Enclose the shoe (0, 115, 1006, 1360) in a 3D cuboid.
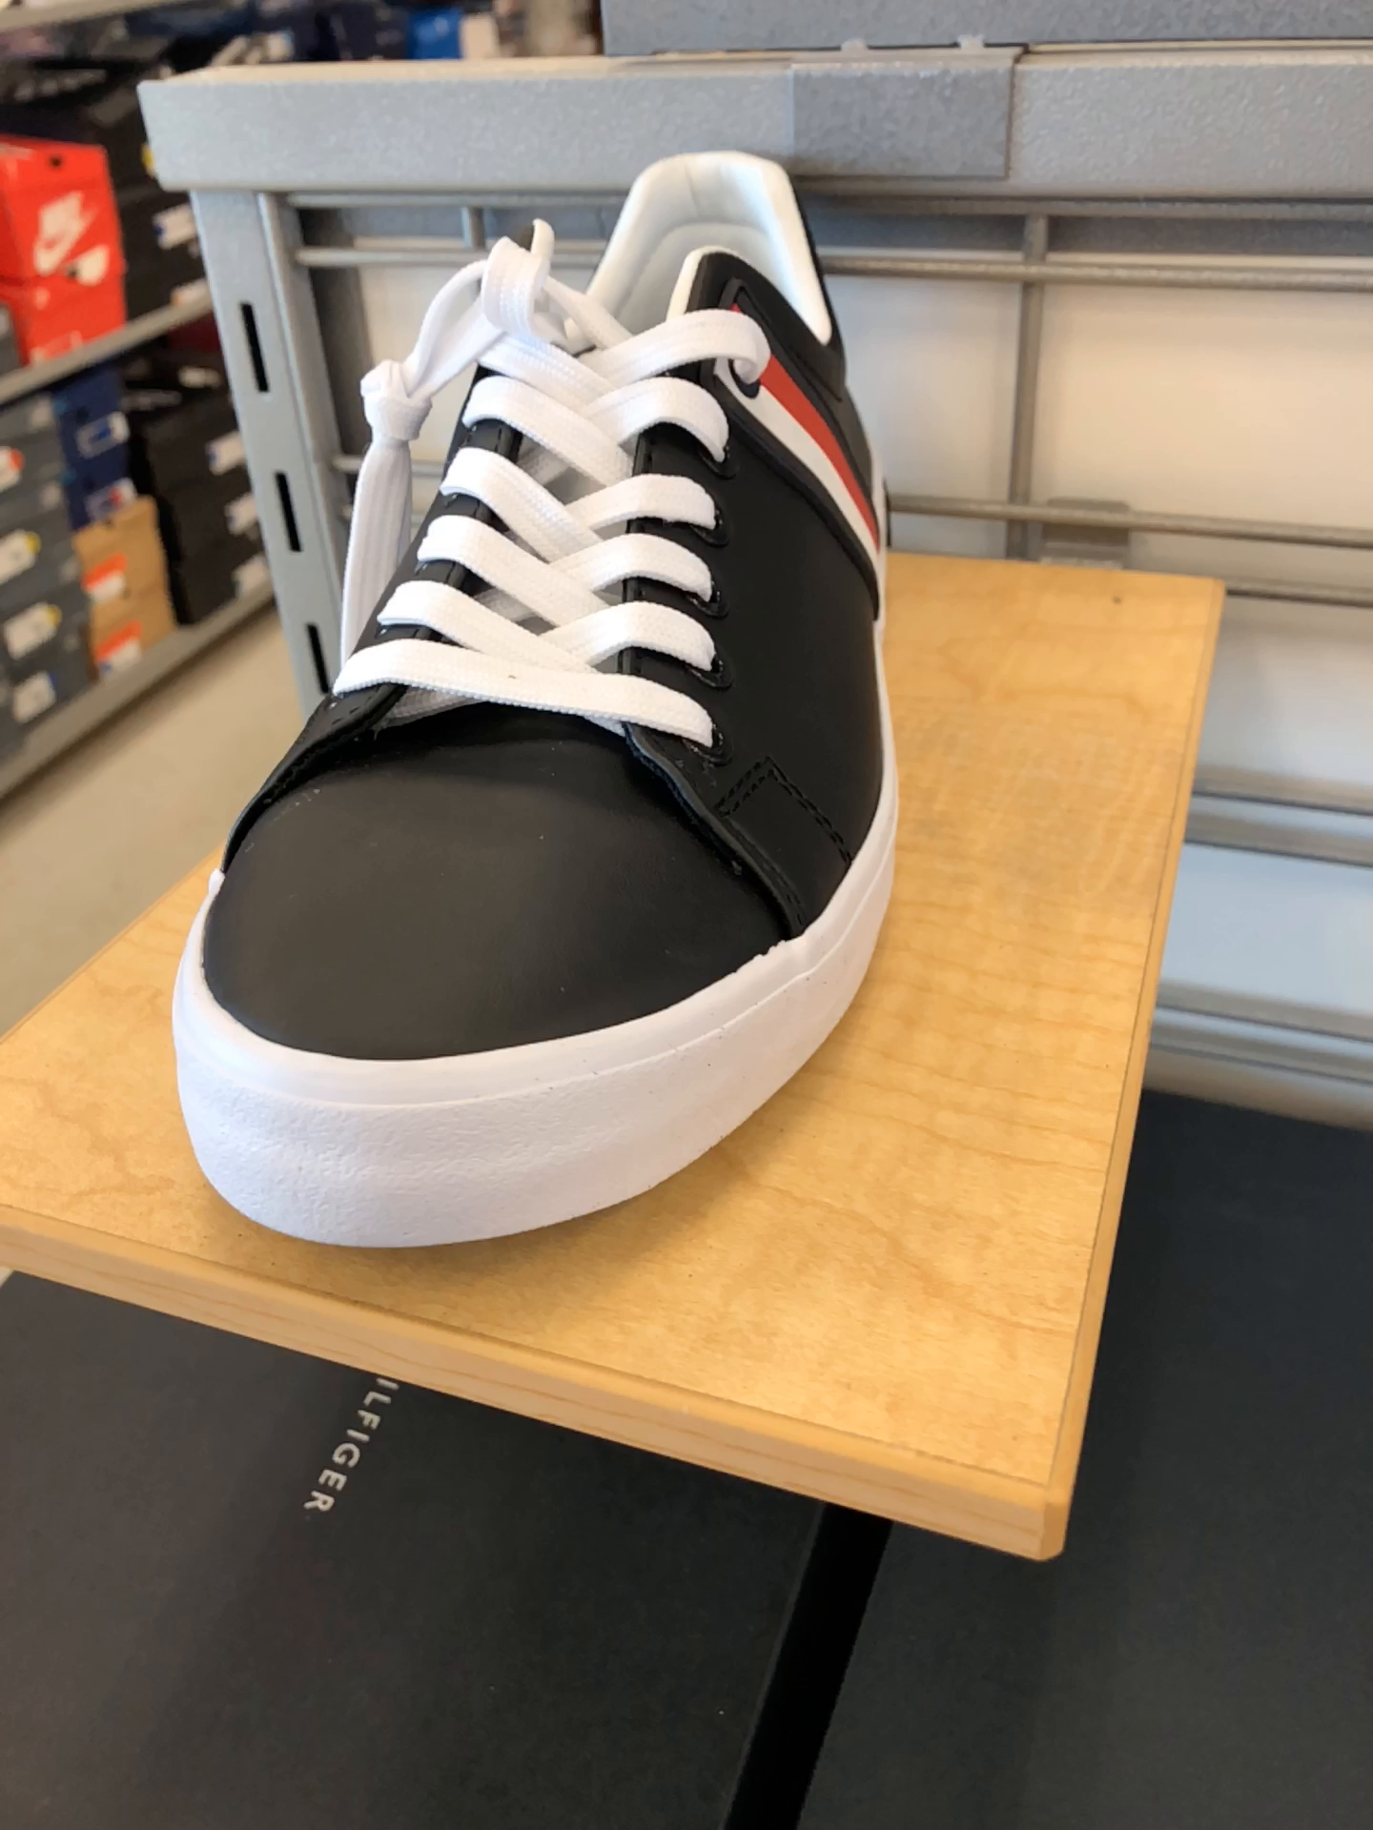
[{"bbox_3d":[-0.003,-0.073,0.274,0.100,0.089,0.292,5,35,11],"label":"shoe"}]
